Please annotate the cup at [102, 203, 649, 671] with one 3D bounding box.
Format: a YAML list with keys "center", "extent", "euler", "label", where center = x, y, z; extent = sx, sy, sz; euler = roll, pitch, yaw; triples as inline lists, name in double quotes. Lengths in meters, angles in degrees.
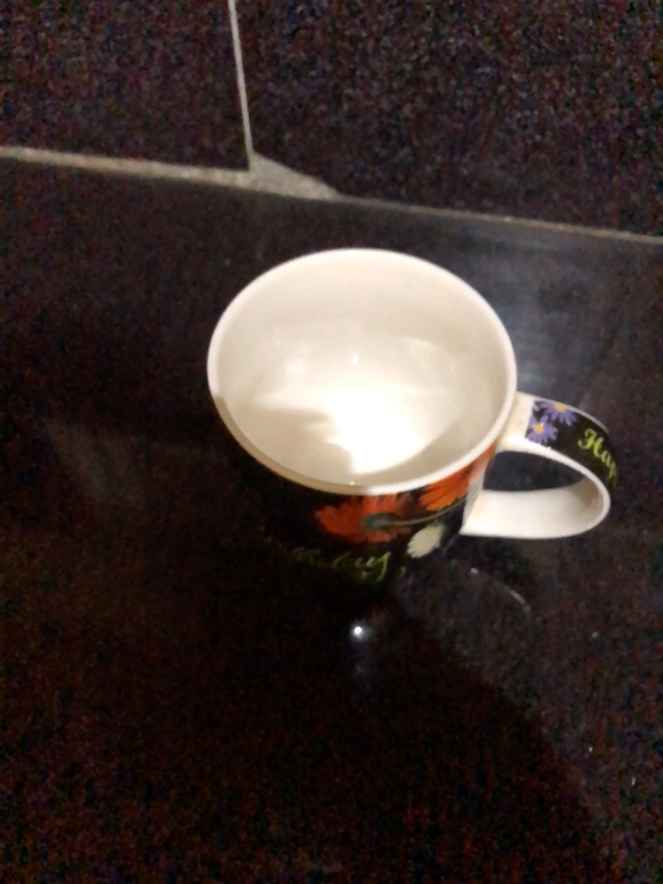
- center: [0.017, 0.001, 0.240]
  extent: [0.130, 0.090, 0.090]
  euler: [13, 60, 8]
  label: "cup"
